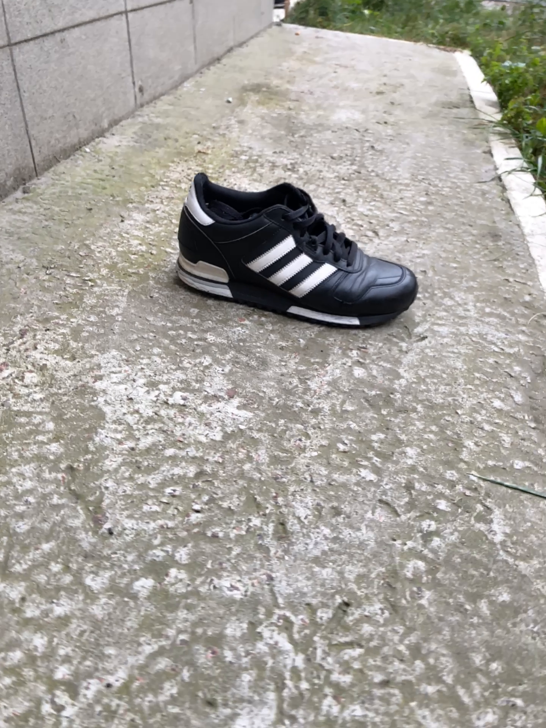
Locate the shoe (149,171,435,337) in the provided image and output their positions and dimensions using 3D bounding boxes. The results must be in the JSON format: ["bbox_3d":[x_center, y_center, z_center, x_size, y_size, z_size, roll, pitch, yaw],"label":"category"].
[{"bbox_3d":[0.020,-0.123,0.658,0.280,0.119,0.101,7,36,5],"label":"shoe"}]
